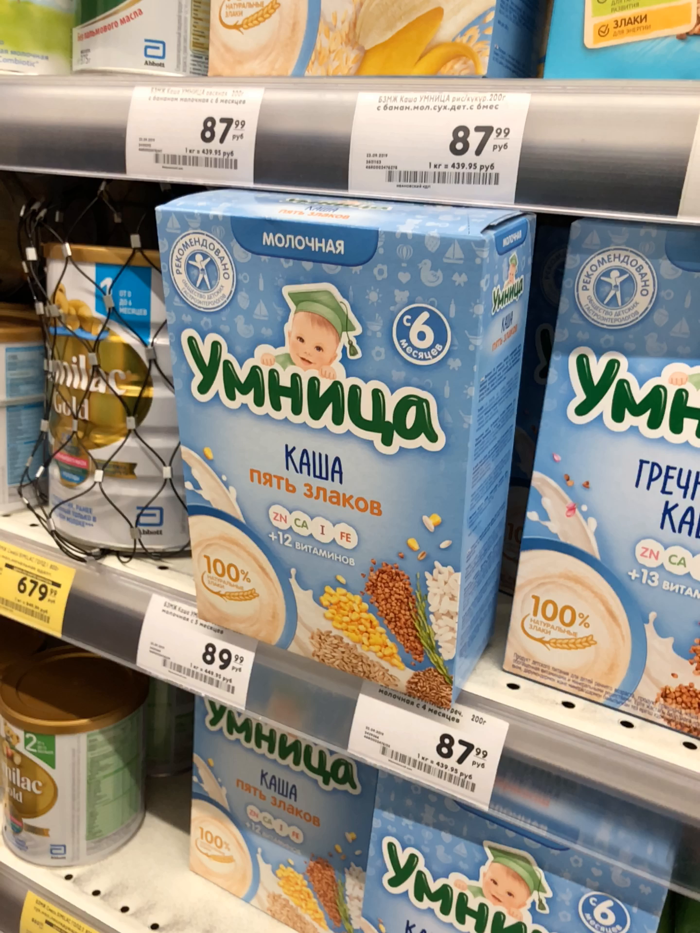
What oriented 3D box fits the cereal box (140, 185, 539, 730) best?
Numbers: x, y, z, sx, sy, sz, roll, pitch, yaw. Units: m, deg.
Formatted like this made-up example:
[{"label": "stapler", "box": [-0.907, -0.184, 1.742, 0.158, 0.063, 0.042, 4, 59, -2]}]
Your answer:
[{"label": "cereal box", "box": [-0.003, -0.007, 0.341, 0.140, 0.209, 0.060, 13, 29, 26]}]
